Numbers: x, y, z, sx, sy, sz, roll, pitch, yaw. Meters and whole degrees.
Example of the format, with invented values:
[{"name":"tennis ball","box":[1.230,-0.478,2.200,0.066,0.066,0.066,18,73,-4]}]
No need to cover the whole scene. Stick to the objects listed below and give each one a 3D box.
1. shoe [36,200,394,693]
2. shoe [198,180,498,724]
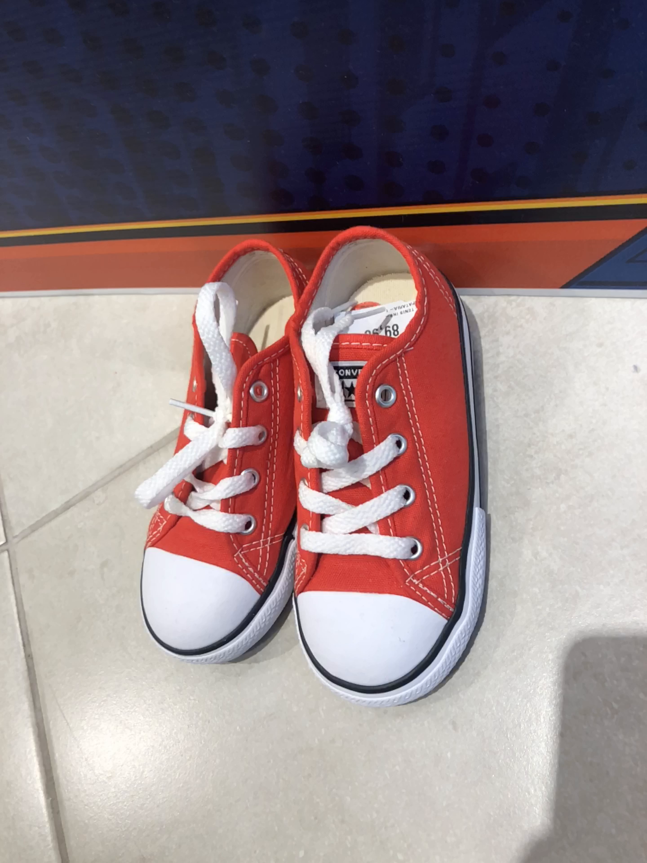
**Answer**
[{"name":"shoe","box":[-0.039,0.004,0.313,0.080,0.070,0.190,7,74,28]},{"name":"shoe","box":[0.019,0.008,0.286,0.080,0.070,0.190,-2,70,25]}]
